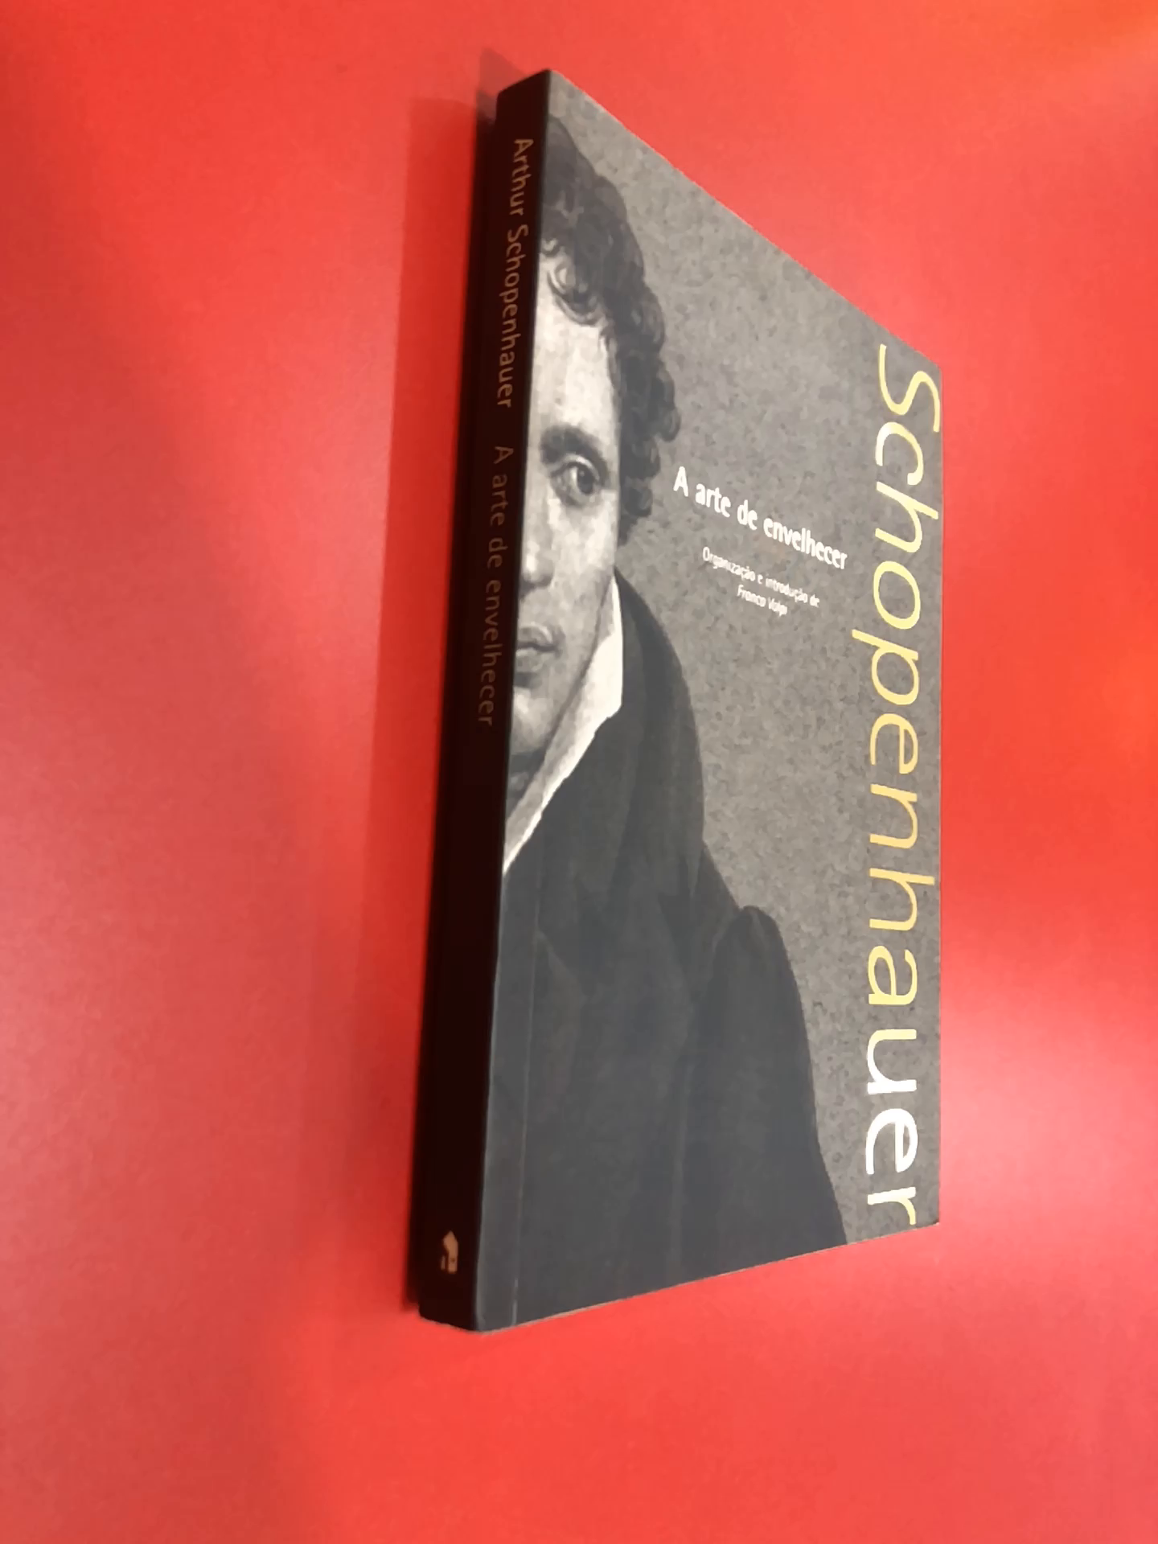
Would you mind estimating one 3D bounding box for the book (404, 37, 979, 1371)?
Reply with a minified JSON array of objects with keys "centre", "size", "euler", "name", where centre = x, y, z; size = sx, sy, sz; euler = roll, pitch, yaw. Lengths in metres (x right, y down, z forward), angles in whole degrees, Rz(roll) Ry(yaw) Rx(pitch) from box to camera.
[{"centre":[0.034,-0.007,0.241],"size":[0.138,0.017,0.196],"euler":[11,79,-46],"name":"book"}]
